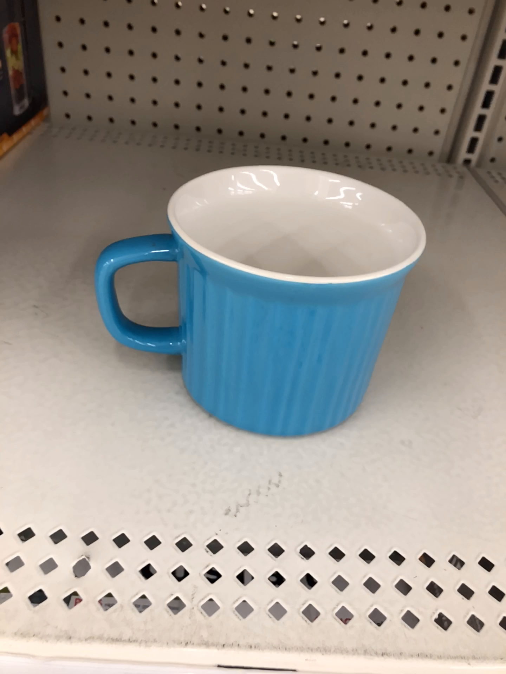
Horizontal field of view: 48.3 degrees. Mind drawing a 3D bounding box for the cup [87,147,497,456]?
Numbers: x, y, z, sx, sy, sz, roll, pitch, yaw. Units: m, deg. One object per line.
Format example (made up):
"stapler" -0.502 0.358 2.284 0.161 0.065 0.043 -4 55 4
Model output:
"cup" 0.004 -0.027 0.288 0.161 0.093 0.126 -3 38 -13
